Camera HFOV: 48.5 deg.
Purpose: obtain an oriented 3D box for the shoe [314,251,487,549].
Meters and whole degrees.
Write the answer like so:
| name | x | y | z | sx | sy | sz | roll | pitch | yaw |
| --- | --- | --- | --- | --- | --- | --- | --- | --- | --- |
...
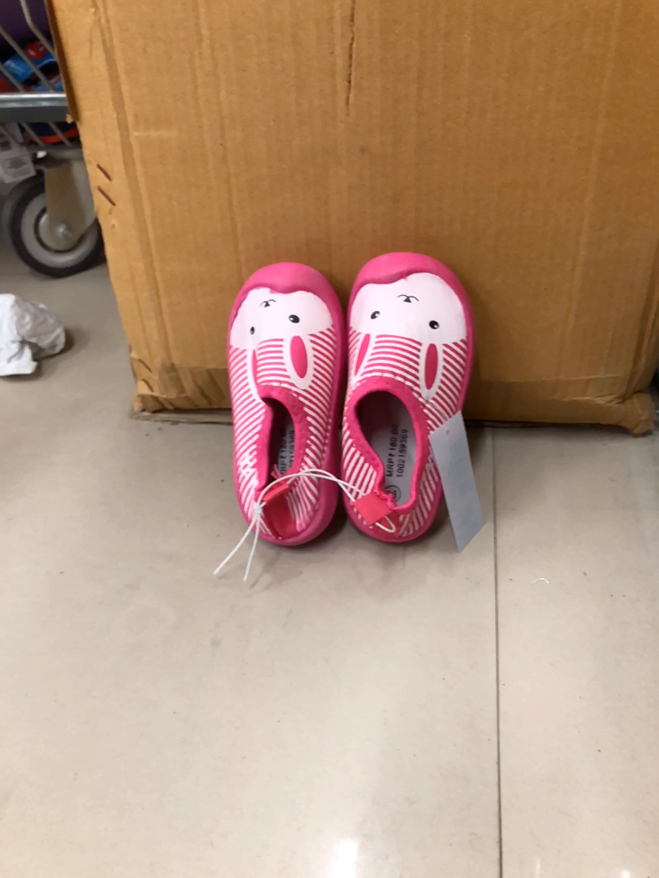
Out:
| name | x | y | z | sx | sy | sz | roll | pitch | yaw |
| --- | --- | --- | --- | --- | --- | --- | --- | --- | --- |
| shoe | 0.045 | -0.019 | 0.412 | 0.069 | 0.082 | 0.148 | 4 | 78 | 17 |

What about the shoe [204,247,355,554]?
| name | x | y | z | sx | sy | sz | roll | pitch | yaw |
| --- | --- | --- | --- | --- | --- | --- | --- | --- | --- |
| shoe | -0.025 | -0.017 | 0.417 | 0.069 | 0.082 | 0.157 | -2 | 76 | 6 |
